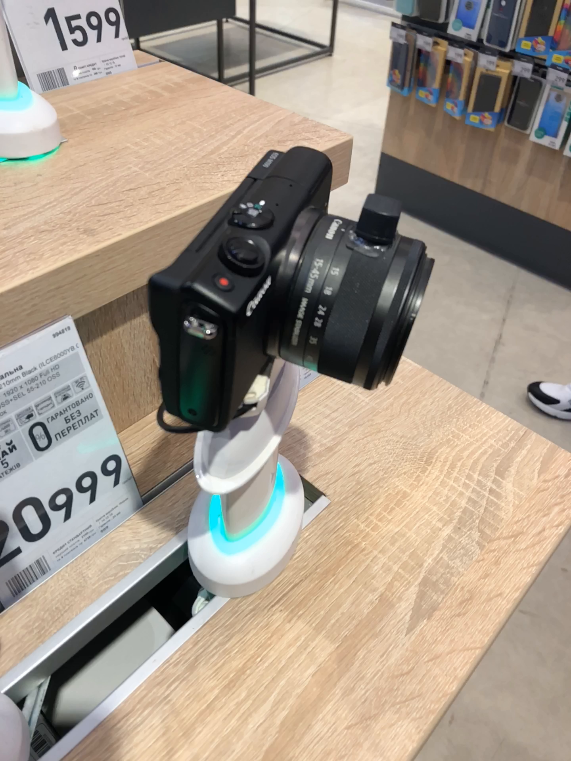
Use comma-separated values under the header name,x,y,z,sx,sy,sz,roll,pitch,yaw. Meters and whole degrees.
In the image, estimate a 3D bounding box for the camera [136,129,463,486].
name,x,y,z,sx,sy,sz,roll,pitch,yaw
camera,0.010,-0.034,0.233,0.082,0.060,0.113,17,45,9
